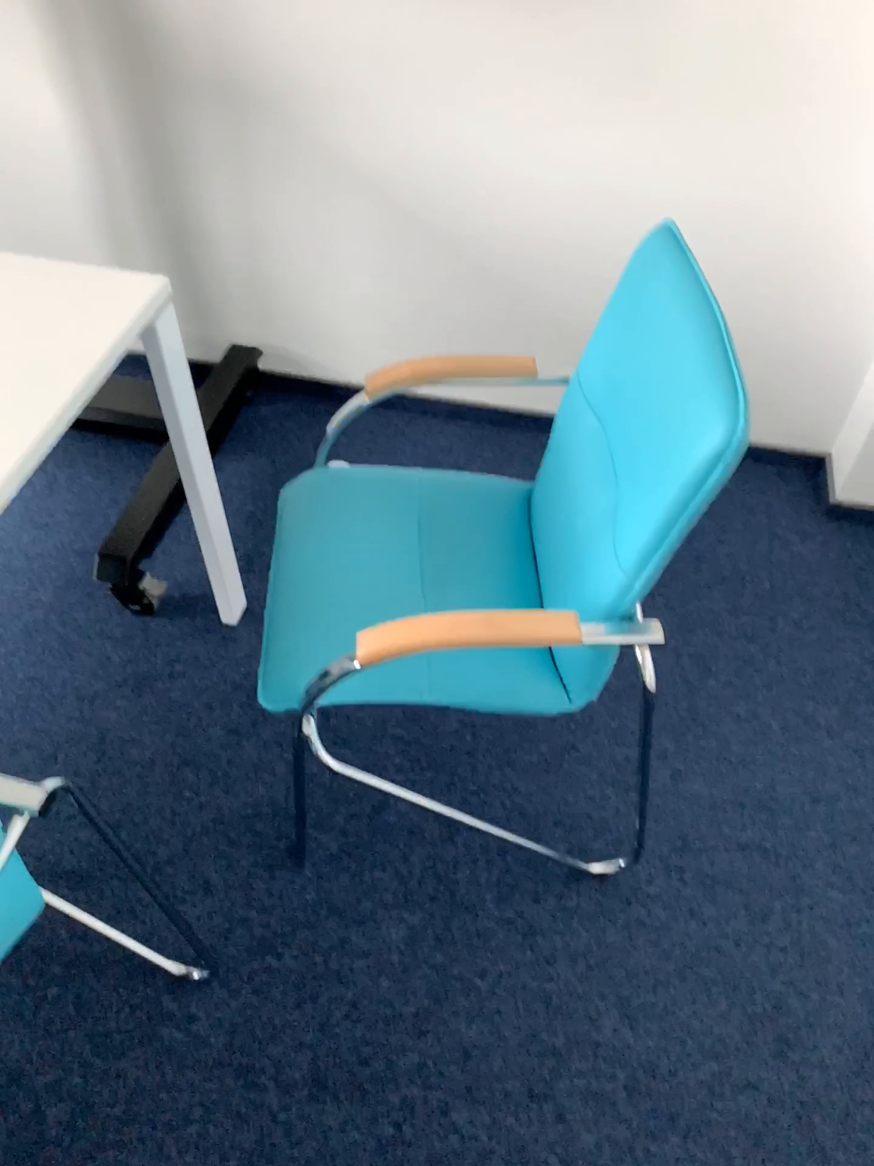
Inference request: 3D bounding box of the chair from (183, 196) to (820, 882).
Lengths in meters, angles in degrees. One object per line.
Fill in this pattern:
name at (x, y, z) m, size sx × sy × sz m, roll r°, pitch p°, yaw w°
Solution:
chair at (0.046, -0.021, 1.366) m, size 0.600 × 0.846 × 0.623 m, roll 0°, pitch 49°, yaw -2°
